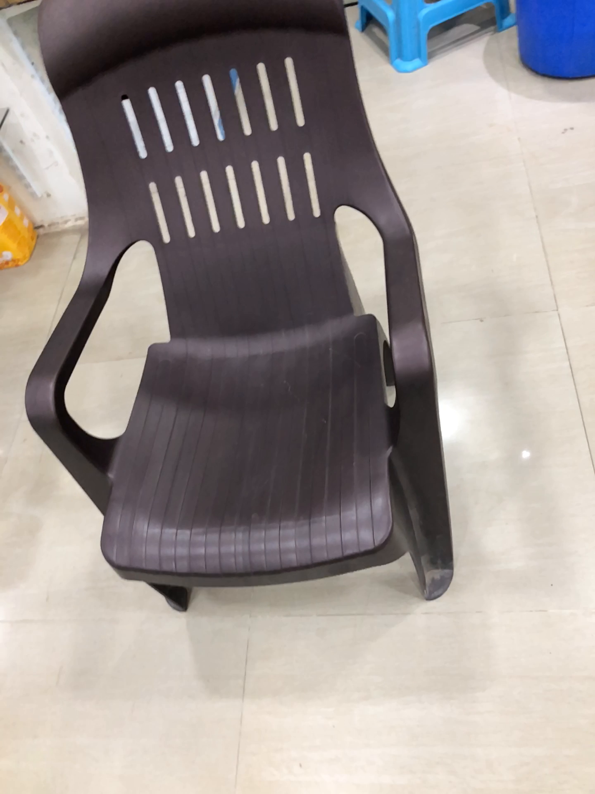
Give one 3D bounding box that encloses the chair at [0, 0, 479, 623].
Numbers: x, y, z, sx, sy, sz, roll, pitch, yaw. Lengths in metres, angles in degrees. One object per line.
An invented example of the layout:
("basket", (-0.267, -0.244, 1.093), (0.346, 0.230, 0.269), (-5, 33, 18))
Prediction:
("chair", (-0.091, -0.123, 1.027), (0.630, 0.846, 0.683), (-7, 55, 12))
